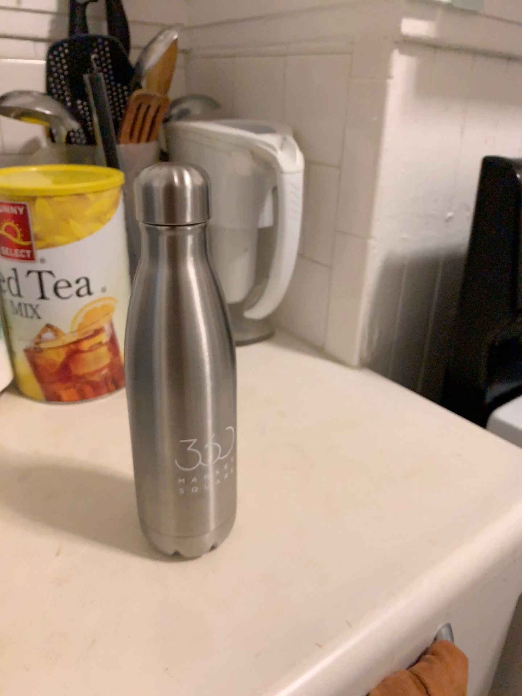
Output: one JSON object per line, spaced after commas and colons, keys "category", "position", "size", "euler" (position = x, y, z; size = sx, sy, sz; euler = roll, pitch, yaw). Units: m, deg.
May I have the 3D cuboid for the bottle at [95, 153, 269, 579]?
{"category": "bottle", "position": [-0.048, 0.014, 0.341], "size": [0.070, 0.249, 0.070], "euler": [2, 25, -1]}
